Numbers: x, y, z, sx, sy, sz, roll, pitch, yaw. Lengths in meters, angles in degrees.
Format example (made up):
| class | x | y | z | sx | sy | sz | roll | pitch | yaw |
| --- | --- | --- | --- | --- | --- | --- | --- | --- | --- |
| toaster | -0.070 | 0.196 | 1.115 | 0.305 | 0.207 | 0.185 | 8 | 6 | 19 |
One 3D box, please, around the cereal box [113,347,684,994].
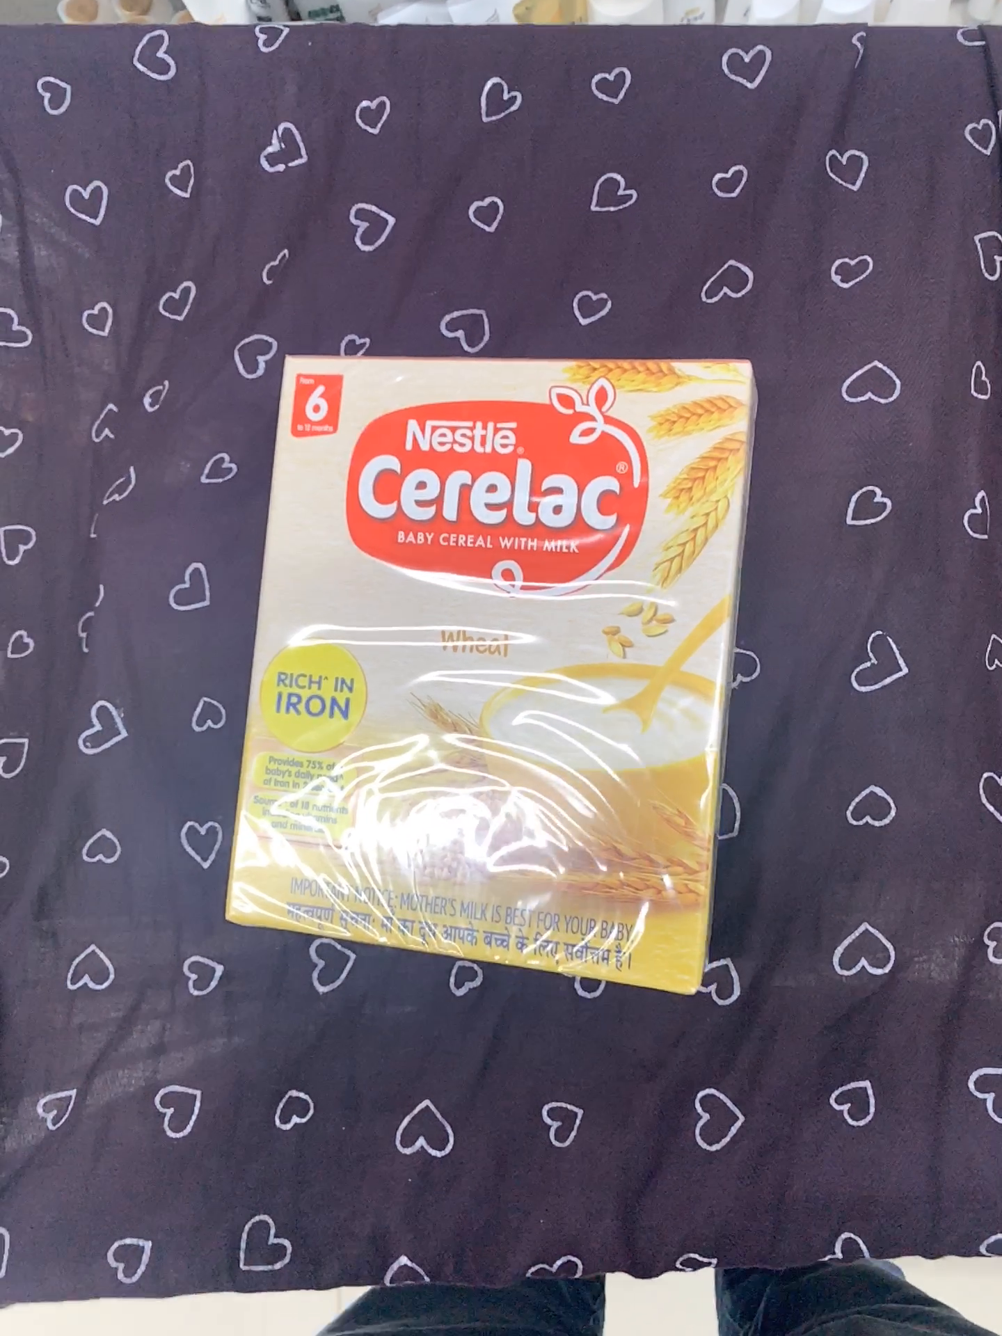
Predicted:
| class | x | y | z | sx | sy | sz | roll | pitch | yaw |
| --- | --- | --- | --- | --- | --- | --- | --- | --- | --- |
| cereal box | -0.028 | -0.004 | 0.294 | 0.140 | 0.040 | 0.160 | 5 | 88 | 15 |
